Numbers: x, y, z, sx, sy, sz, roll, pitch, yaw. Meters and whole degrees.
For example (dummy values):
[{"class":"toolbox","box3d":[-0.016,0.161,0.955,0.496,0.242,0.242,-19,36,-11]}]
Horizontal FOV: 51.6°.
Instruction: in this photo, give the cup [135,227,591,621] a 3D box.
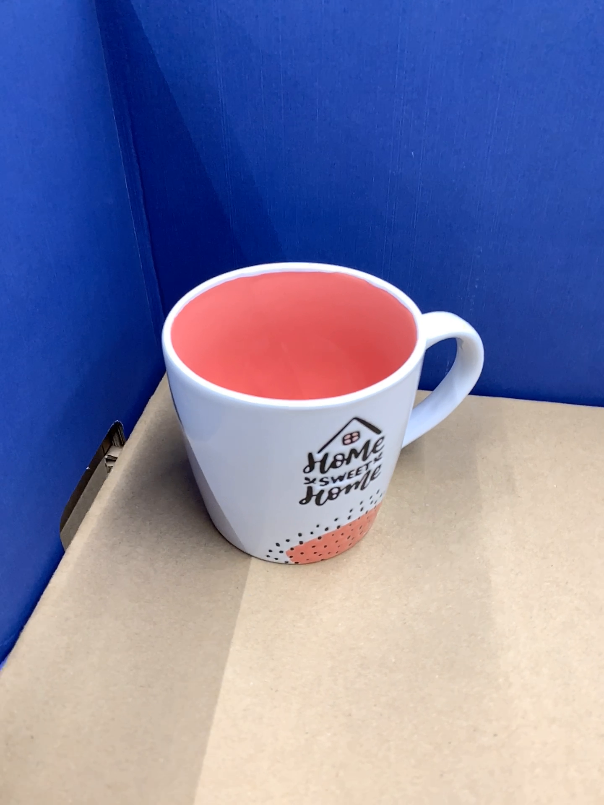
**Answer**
[{"class":"cup","box3d":[0.017,-0.002,0.216,0.115,0.070,0.083,-19,41,-22]}]
